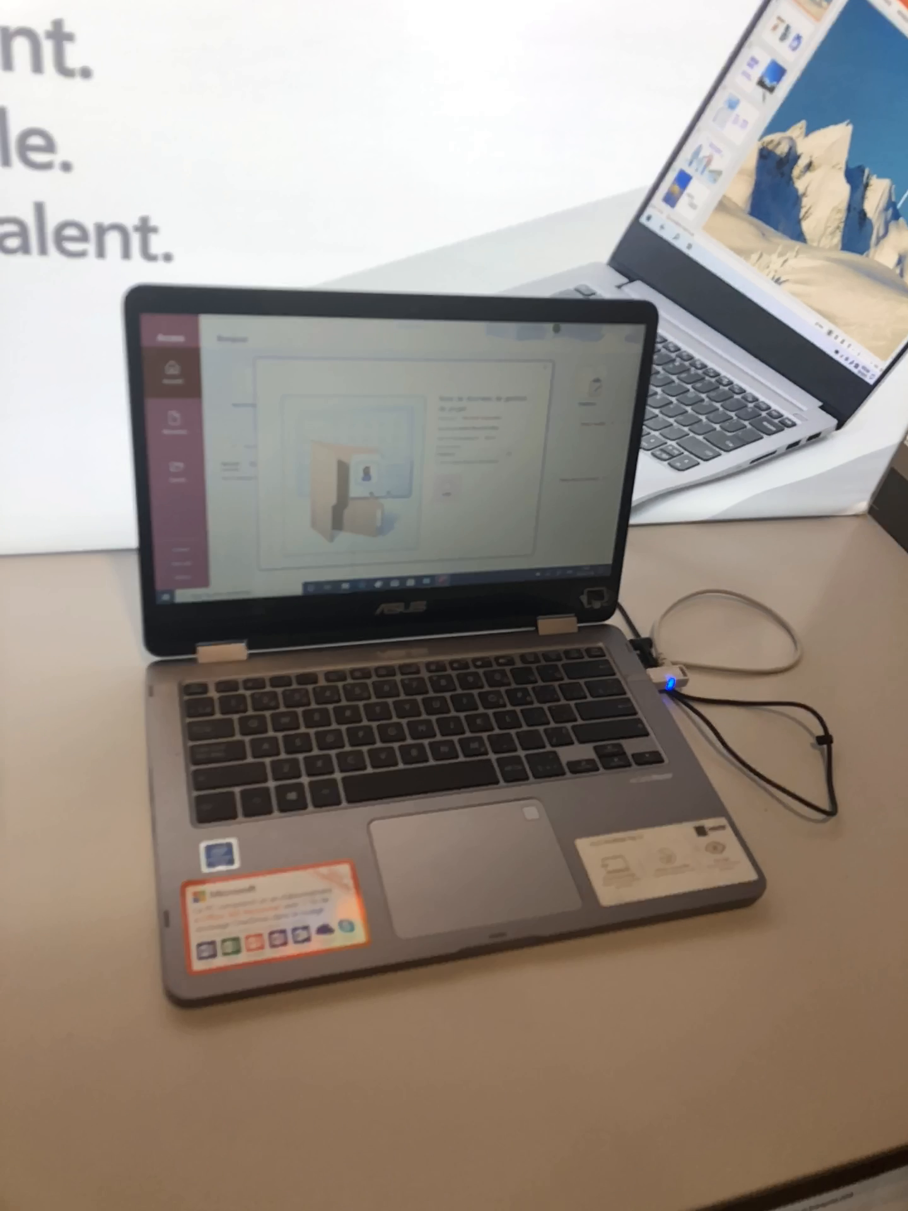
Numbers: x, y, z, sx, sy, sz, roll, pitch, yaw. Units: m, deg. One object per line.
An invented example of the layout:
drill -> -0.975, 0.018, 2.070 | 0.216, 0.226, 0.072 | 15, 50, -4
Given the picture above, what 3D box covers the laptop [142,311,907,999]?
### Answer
laptop -> 0.002, 0.001, 0.532 | 0.311, 0.214, 0.273 | -4, 40, -18
